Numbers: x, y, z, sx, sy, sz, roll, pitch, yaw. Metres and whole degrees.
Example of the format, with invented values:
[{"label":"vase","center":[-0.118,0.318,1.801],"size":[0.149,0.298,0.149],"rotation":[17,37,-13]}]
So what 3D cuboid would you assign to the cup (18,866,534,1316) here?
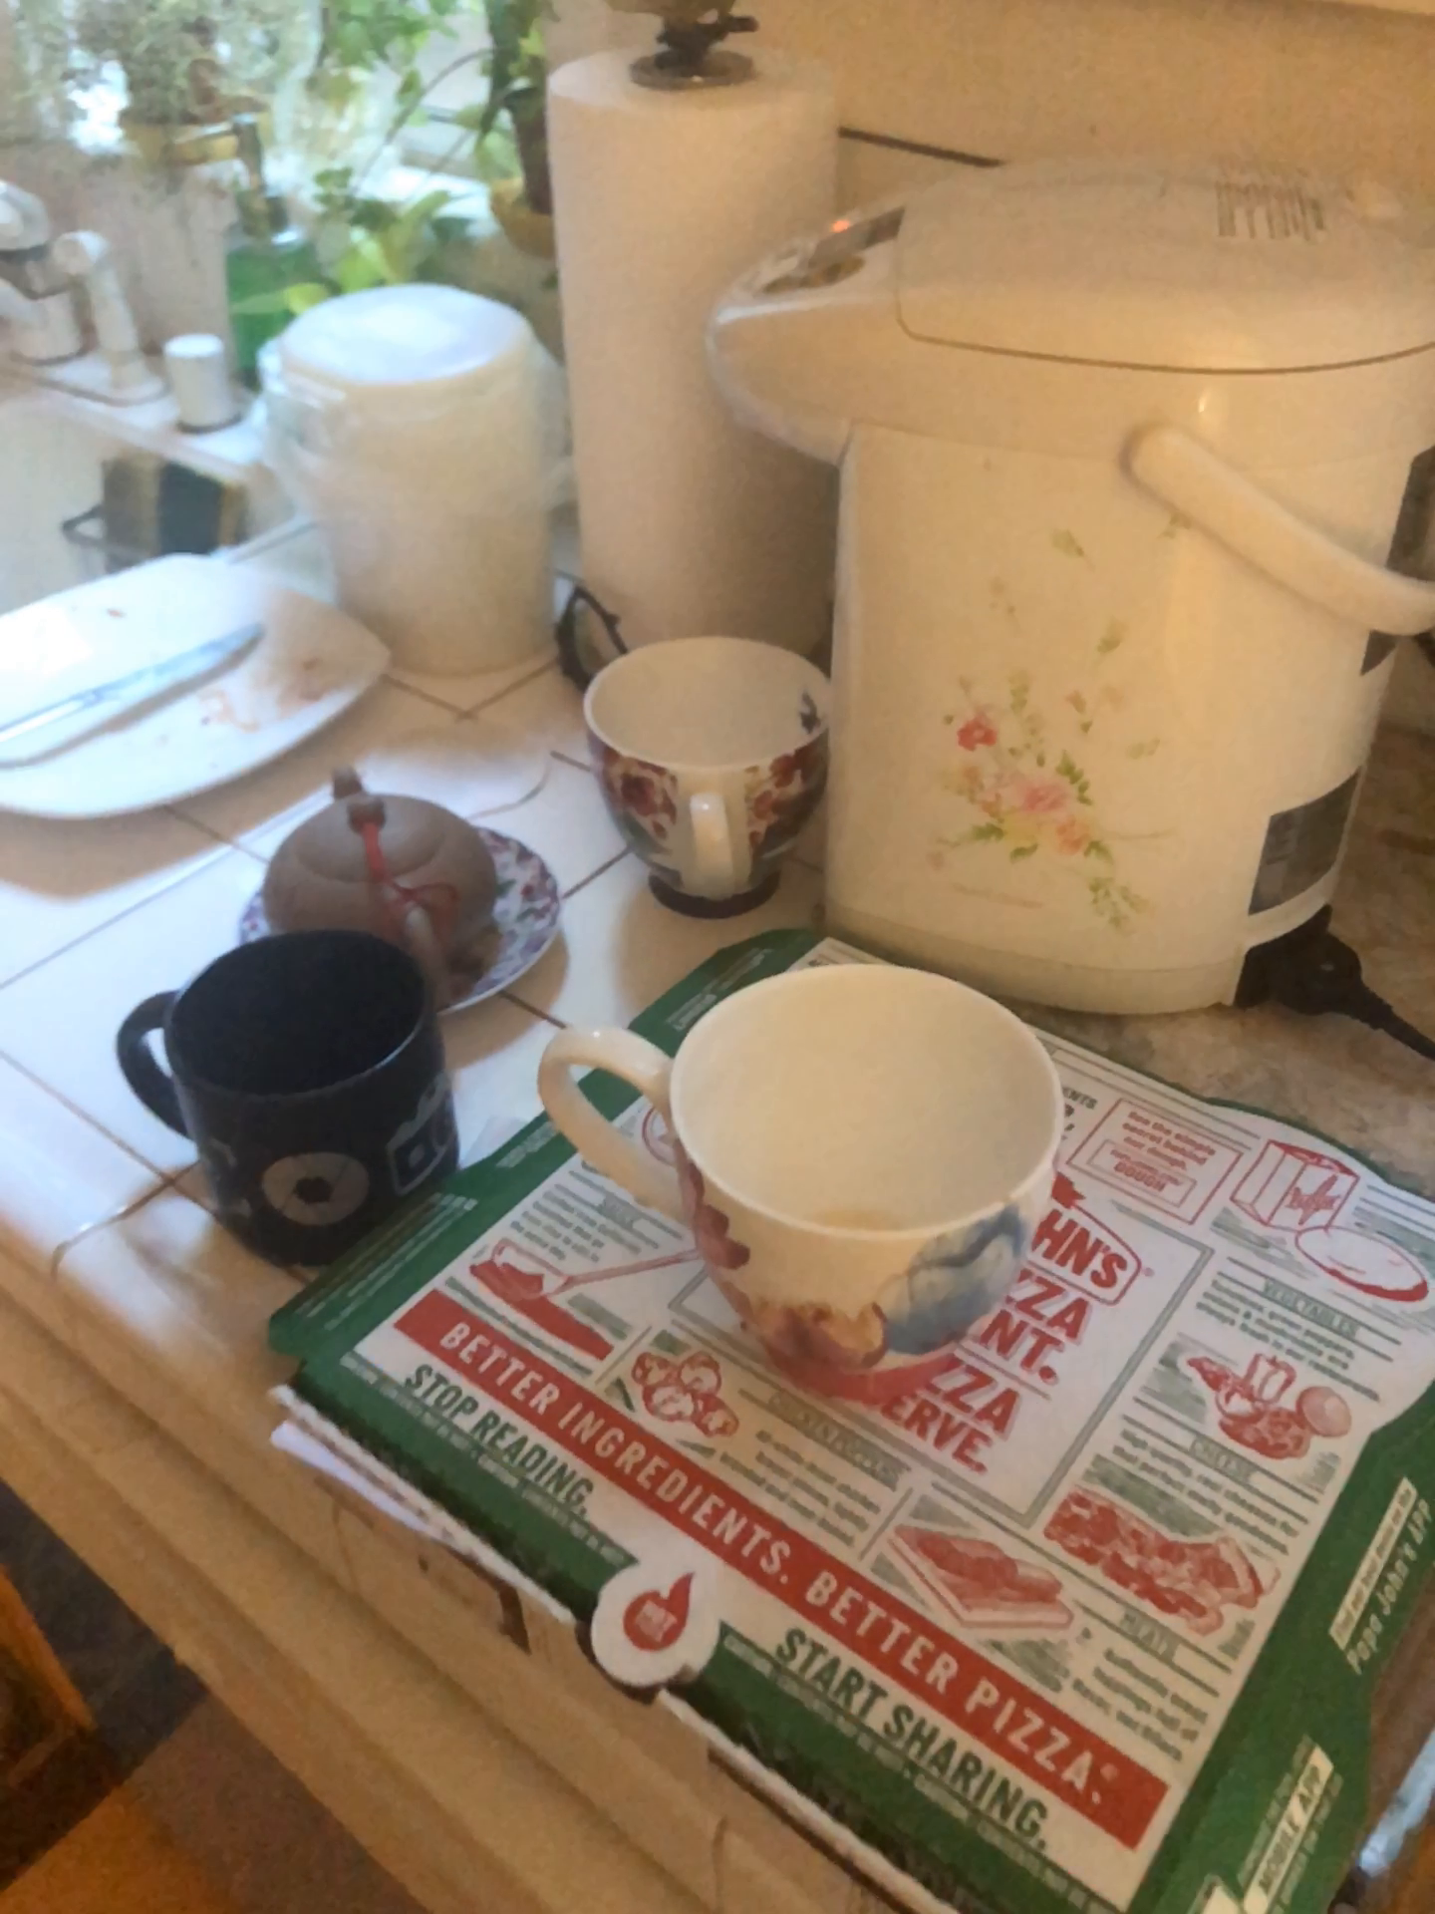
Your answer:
[{"label":"cup","center":[-0.155,0.046,0.583],"size":[0.140,0.099,0.091],"rotation":[13,42,17]}]

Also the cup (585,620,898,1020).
[{"label":"cup","center":[0.005,-0.065,0.696],"size":[0.110,0.089,0.161],"rotation":[-6,40,-5]}]

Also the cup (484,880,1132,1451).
[{"label":"cup","center":[0.029,0.054,0.463],"size":[0.150,0.069,0.111],"rotation":[15,42,18]}]
